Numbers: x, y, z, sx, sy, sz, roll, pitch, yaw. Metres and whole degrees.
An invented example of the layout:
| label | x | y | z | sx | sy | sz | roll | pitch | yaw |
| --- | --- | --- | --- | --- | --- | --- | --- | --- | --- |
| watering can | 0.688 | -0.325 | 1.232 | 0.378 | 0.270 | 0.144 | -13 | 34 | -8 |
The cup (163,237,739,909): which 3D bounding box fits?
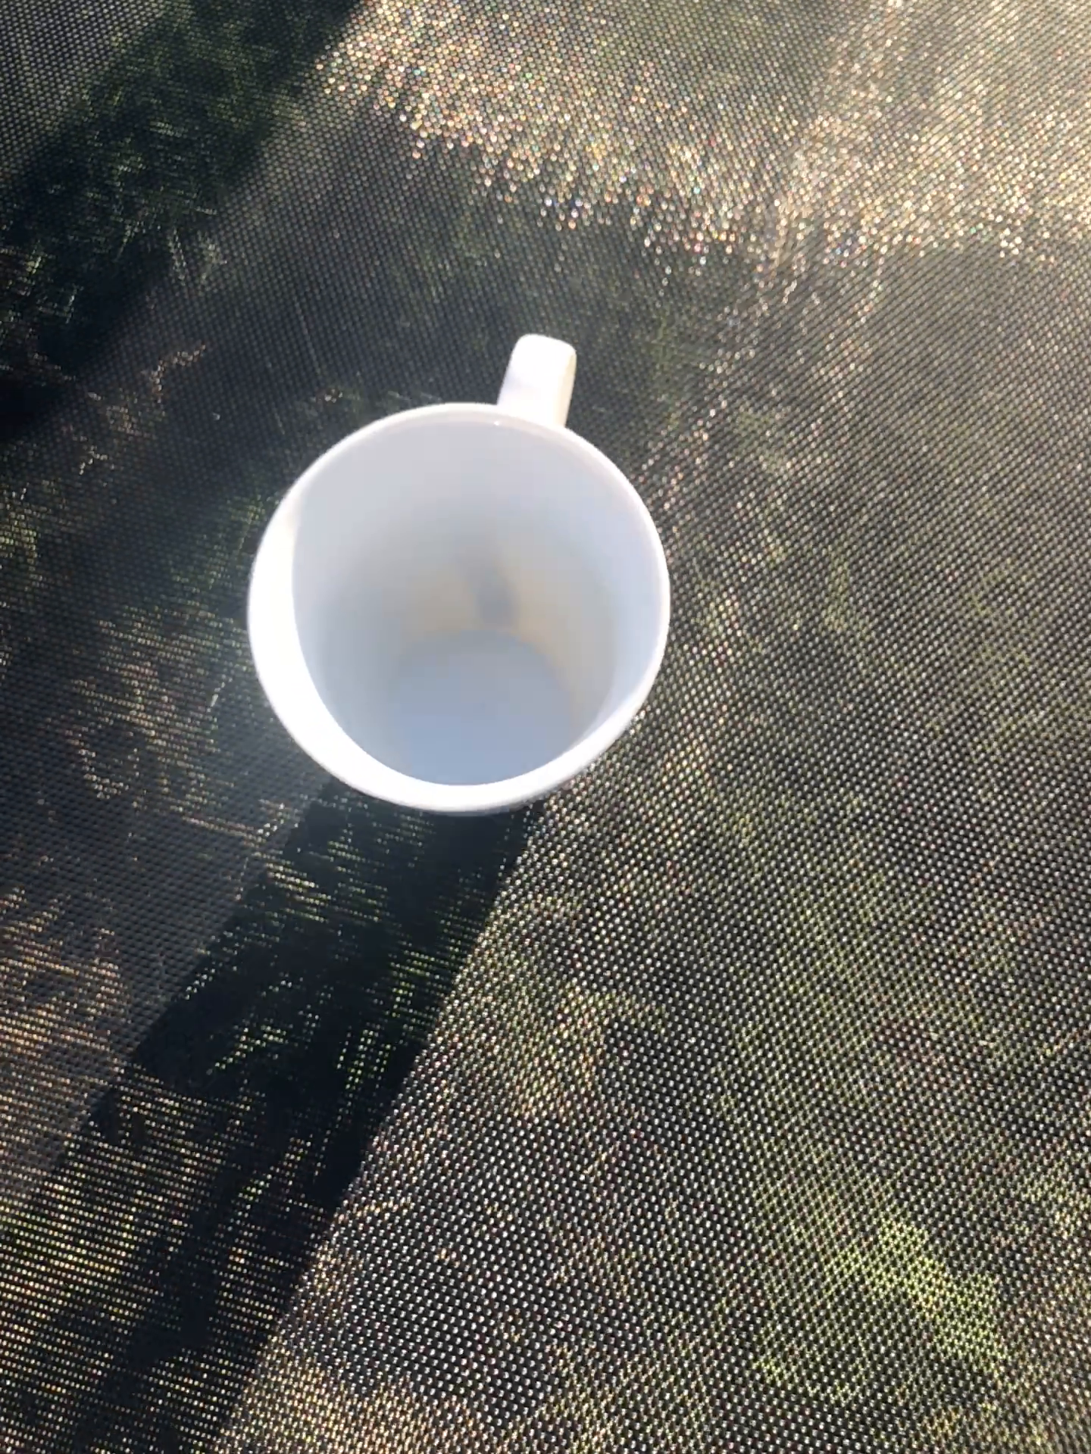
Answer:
| label | x | y | z | sx | sy | sz | roll | pitch | yaw |
| --- | --- | --- | --- | --- | --- | --- | --- | --- | --- |
| cup | -0.017 | -0.032 | 0.312 | 0.097 | 0.094 | 0.129 | 13 | 77 | 4 |
